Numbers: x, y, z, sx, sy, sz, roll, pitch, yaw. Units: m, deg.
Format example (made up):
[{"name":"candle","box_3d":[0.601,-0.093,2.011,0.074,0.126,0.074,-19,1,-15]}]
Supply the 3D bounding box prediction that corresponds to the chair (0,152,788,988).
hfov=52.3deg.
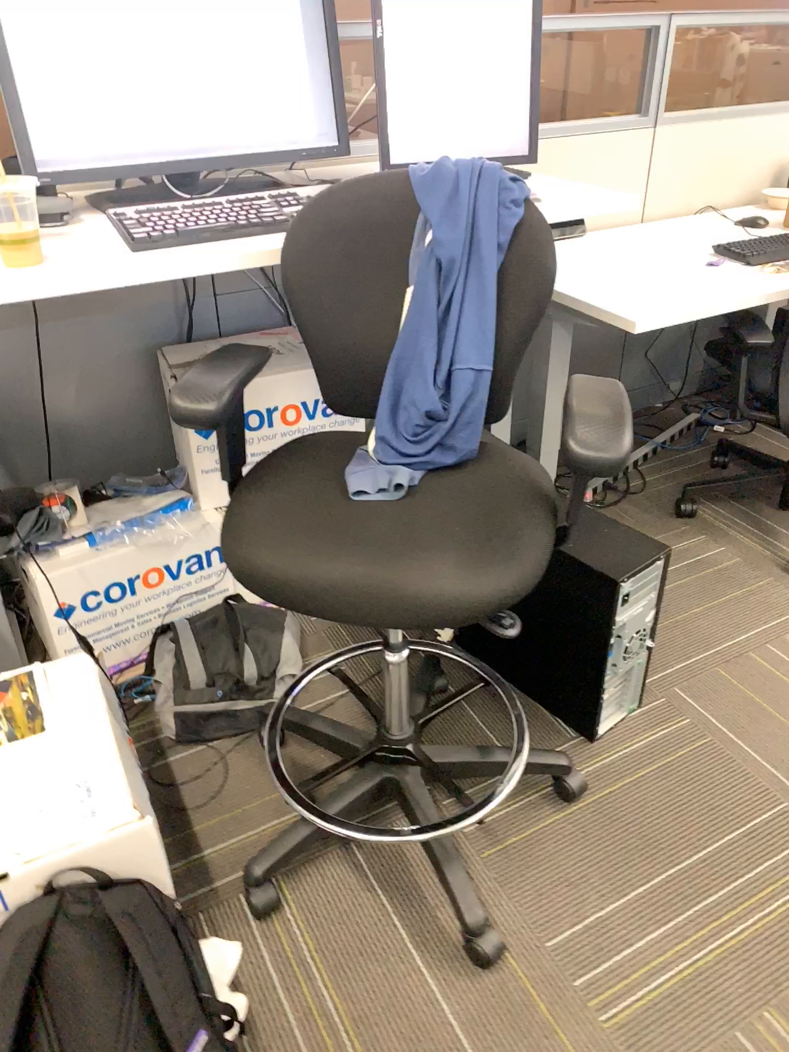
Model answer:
[{"name":"chair","box_3d":[0.008,0.046,1.317,0.750,1.103,0.744,2,33,5]}]
